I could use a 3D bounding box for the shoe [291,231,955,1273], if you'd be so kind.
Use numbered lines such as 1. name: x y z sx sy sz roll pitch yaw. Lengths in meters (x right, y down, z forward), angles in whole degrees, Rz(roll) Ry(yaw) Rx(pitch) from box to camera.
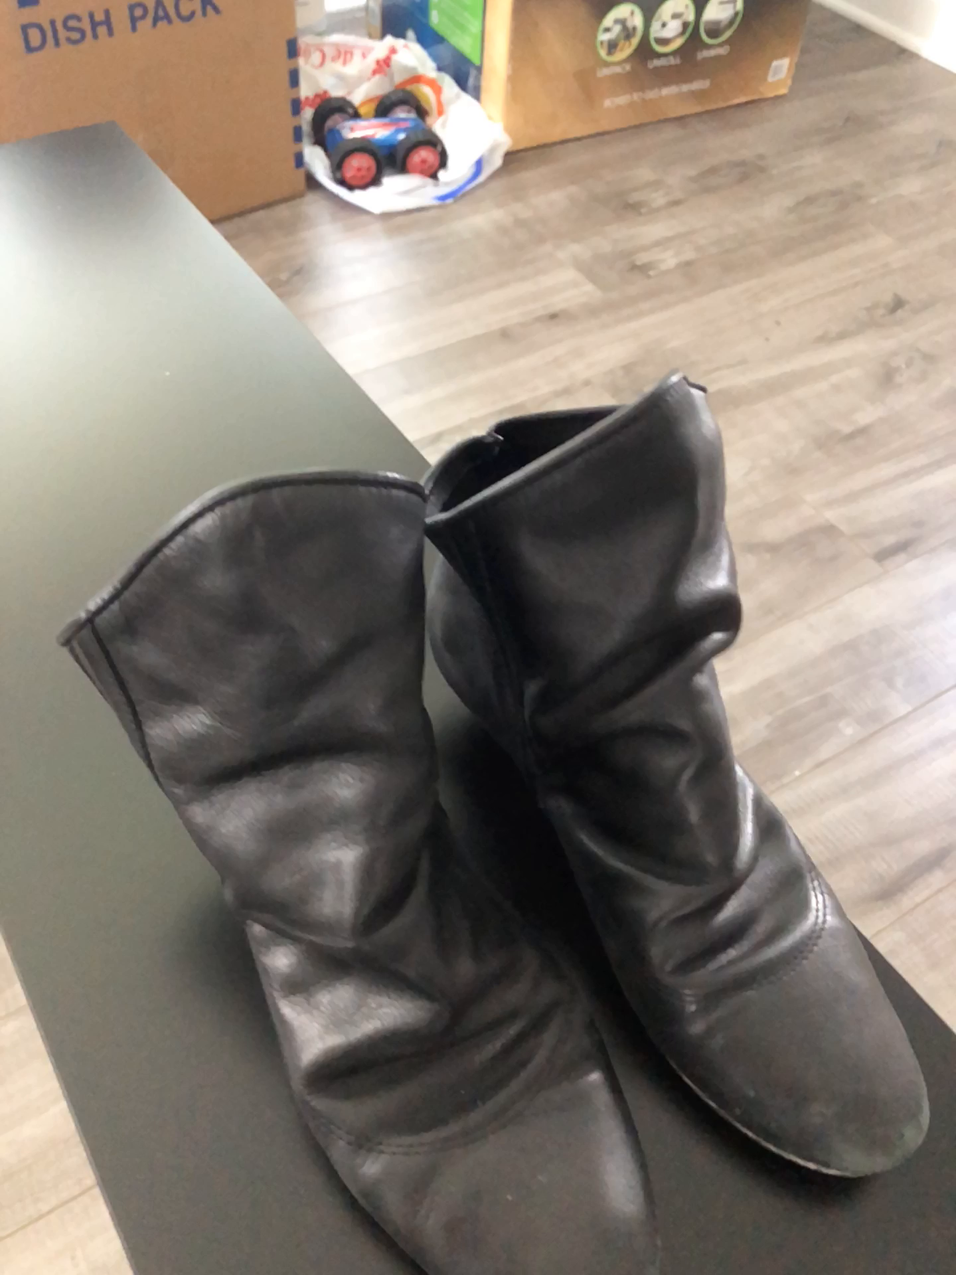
1. shoe: 0.054 0.025 0.329 0.101 0.169 0.261 -25 56 -23

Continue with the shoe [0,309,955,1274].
1. shoe: -0.029 0.060 0.292 0.101 0.169 0.251 -25 56 -23
